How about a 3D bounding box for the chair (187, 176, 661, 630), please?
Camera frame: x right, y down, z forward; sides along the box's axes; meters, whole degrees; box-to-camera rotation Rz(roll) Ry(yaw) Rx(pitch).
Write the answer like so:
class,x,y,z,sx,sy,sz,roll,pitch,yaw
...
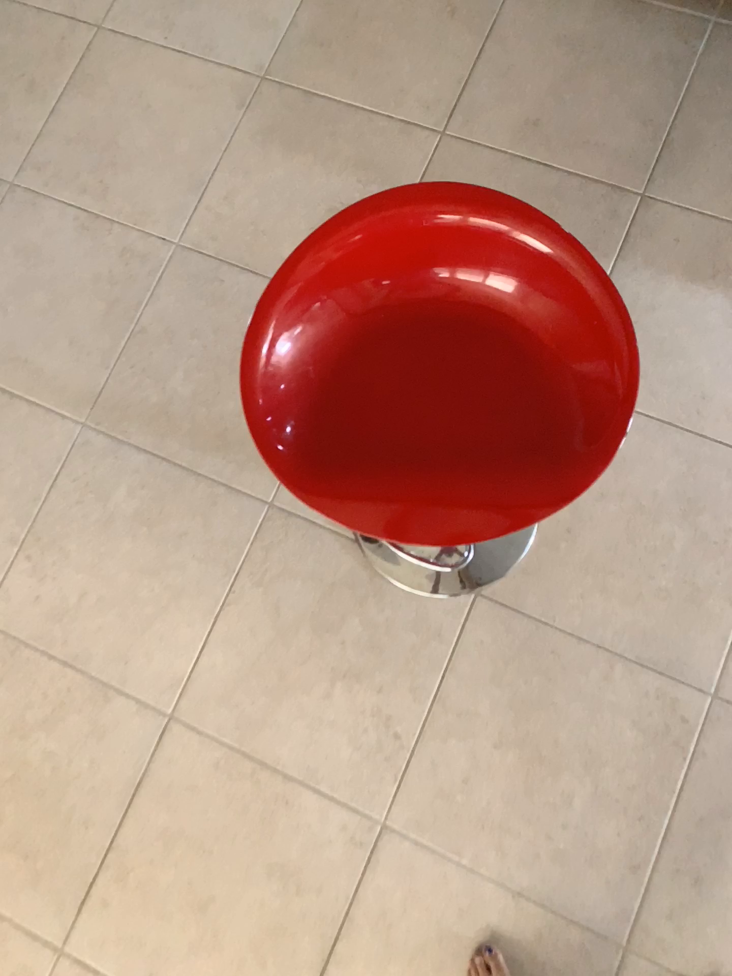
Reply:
class,x,y,z,sx,sy,sz,roll,pitch,yaw
chair,0.105,-0.038,1.087,0.437,0.732,0.432,4,78,8
